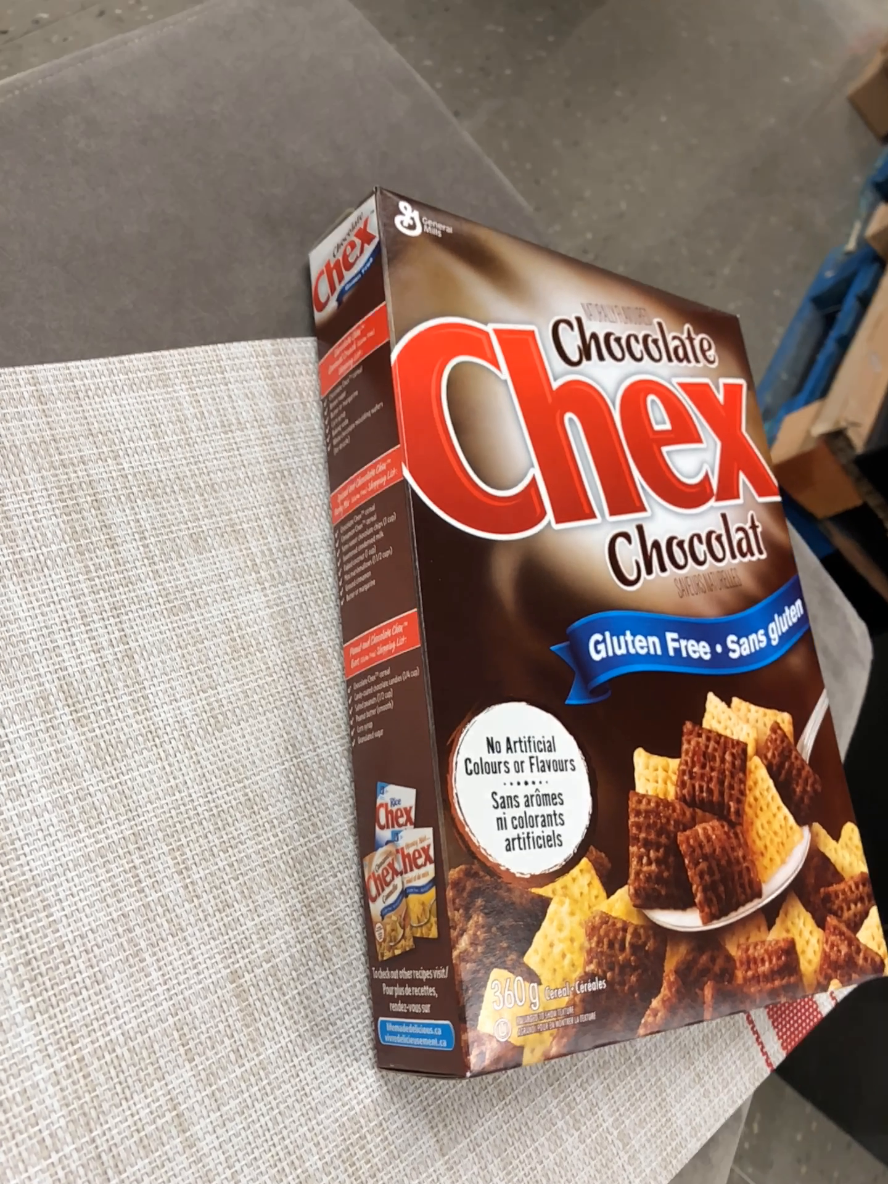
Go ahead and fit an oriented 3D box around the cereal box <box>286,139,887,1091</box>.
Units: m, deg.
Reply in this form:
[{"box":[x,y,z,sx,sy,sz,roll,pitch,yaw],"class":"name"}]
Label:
[{"box":[0.058,0.002,0.367,0.211,0.050,0.290,6,69,-34],"class":"cereal box"}]
